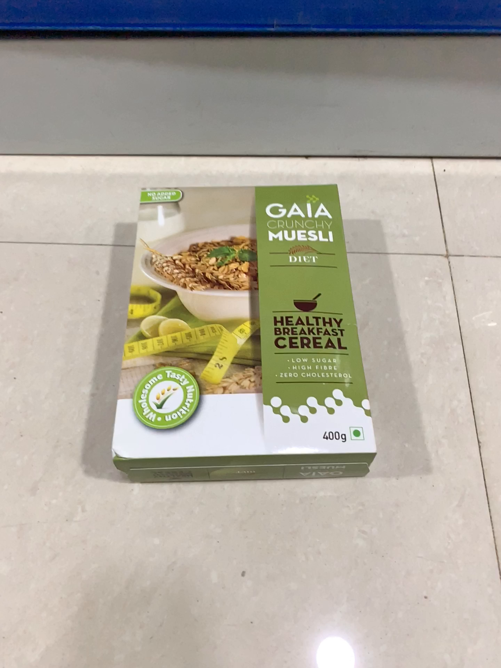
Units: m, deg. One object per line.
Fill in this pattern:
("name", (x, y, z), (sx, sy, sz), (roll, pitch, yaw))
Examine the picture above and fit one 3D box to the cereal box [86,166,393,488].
("cereal box", (-0.009, -0.013, 0.389), (0.180, 0.070, 0.230), (-2, 61, 1))
